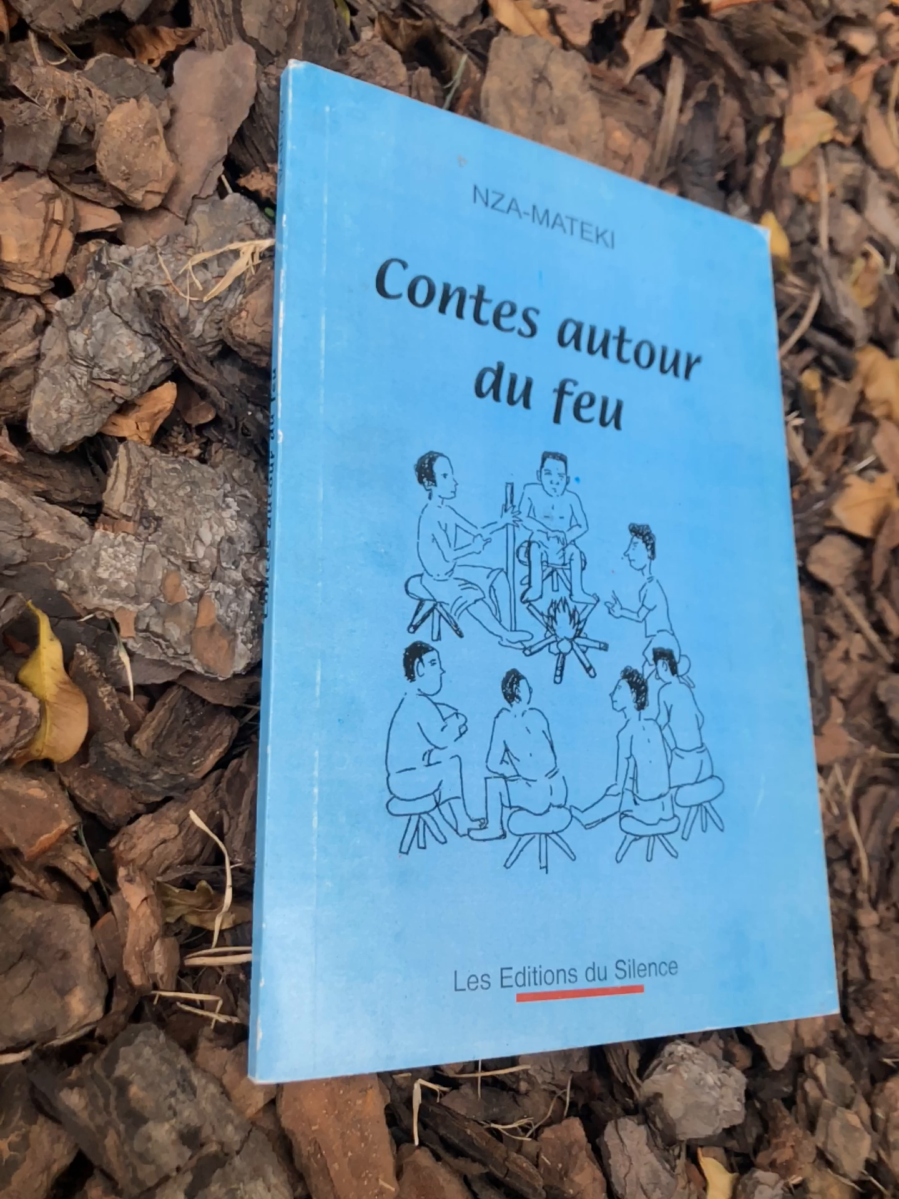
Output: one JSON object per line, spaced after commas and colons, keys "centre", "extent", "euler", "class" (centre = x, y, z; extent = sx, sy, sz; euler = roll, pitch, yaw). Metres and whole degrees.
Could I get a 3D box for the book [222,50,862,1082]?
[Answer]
{"centre": [0.027, -0.009, 0.229], "extent": [0.144, 0.015, 0.202], "euler": [7, 74, -27], "class": "book"}
